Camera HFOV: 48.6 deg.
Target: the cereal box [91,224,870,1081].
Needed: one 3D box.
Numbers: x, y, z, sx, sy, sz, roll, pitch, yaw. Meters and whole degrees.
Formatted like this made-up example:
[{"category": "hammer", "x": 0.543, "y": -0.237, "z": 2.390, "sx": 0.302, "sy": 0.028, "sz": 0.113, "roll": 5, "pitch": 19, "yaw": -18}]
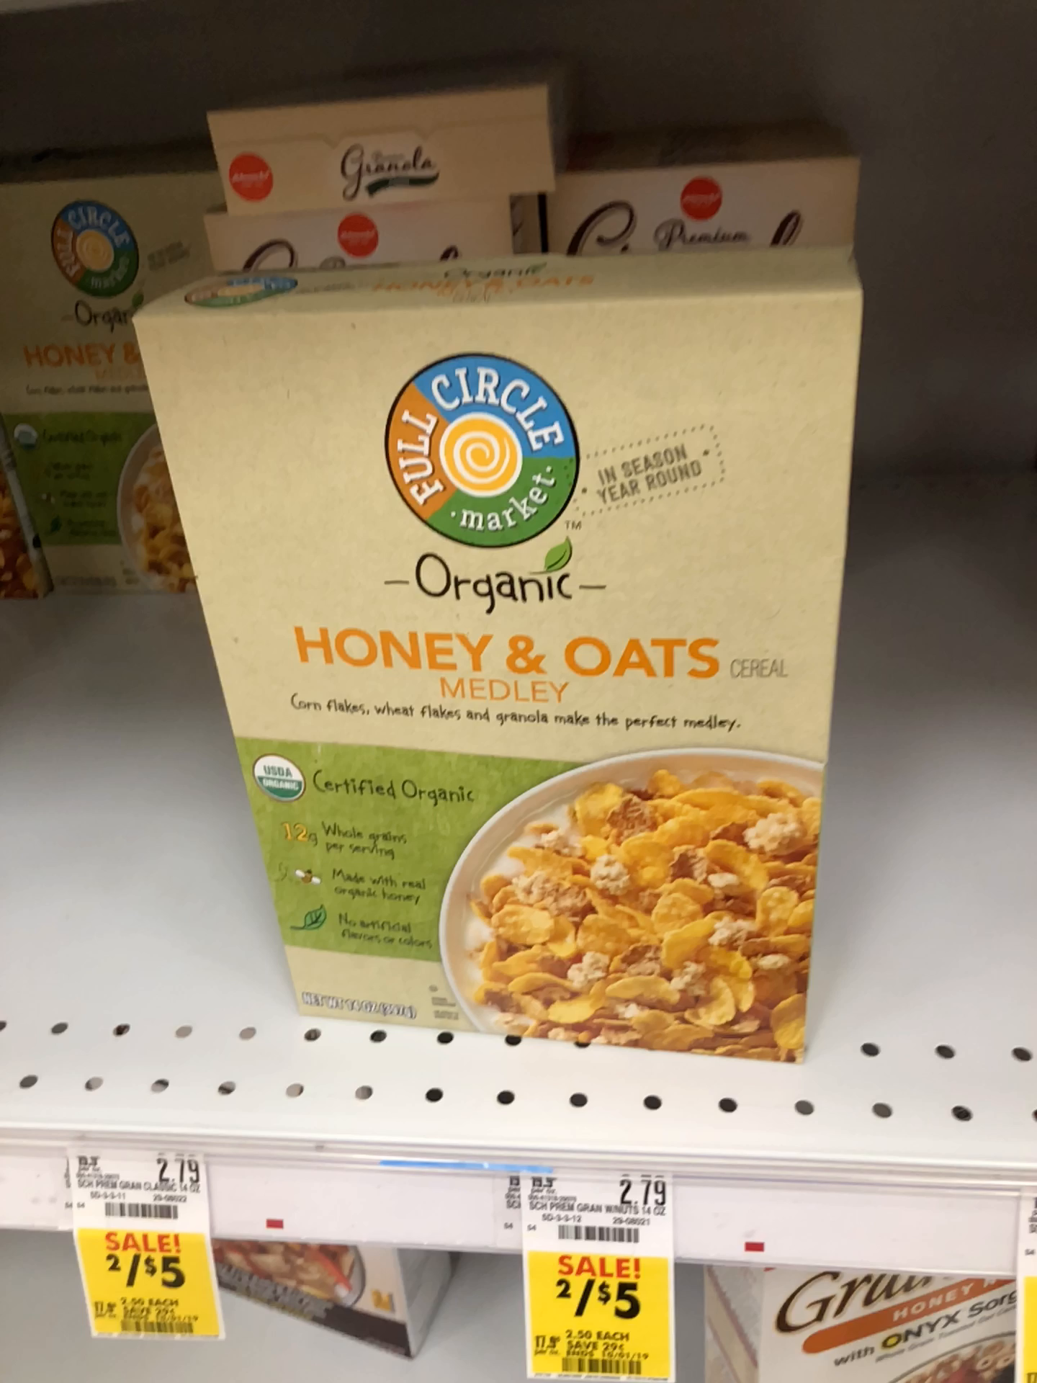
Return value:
[{"category": "cereal box", "x": 0.000, "y": 0.000, "z": 0.363, "sx": 0.190, "sy": 0.259, "sz": 0.060, "roll": 2, "pitch": 31, "yaw": 12}]
